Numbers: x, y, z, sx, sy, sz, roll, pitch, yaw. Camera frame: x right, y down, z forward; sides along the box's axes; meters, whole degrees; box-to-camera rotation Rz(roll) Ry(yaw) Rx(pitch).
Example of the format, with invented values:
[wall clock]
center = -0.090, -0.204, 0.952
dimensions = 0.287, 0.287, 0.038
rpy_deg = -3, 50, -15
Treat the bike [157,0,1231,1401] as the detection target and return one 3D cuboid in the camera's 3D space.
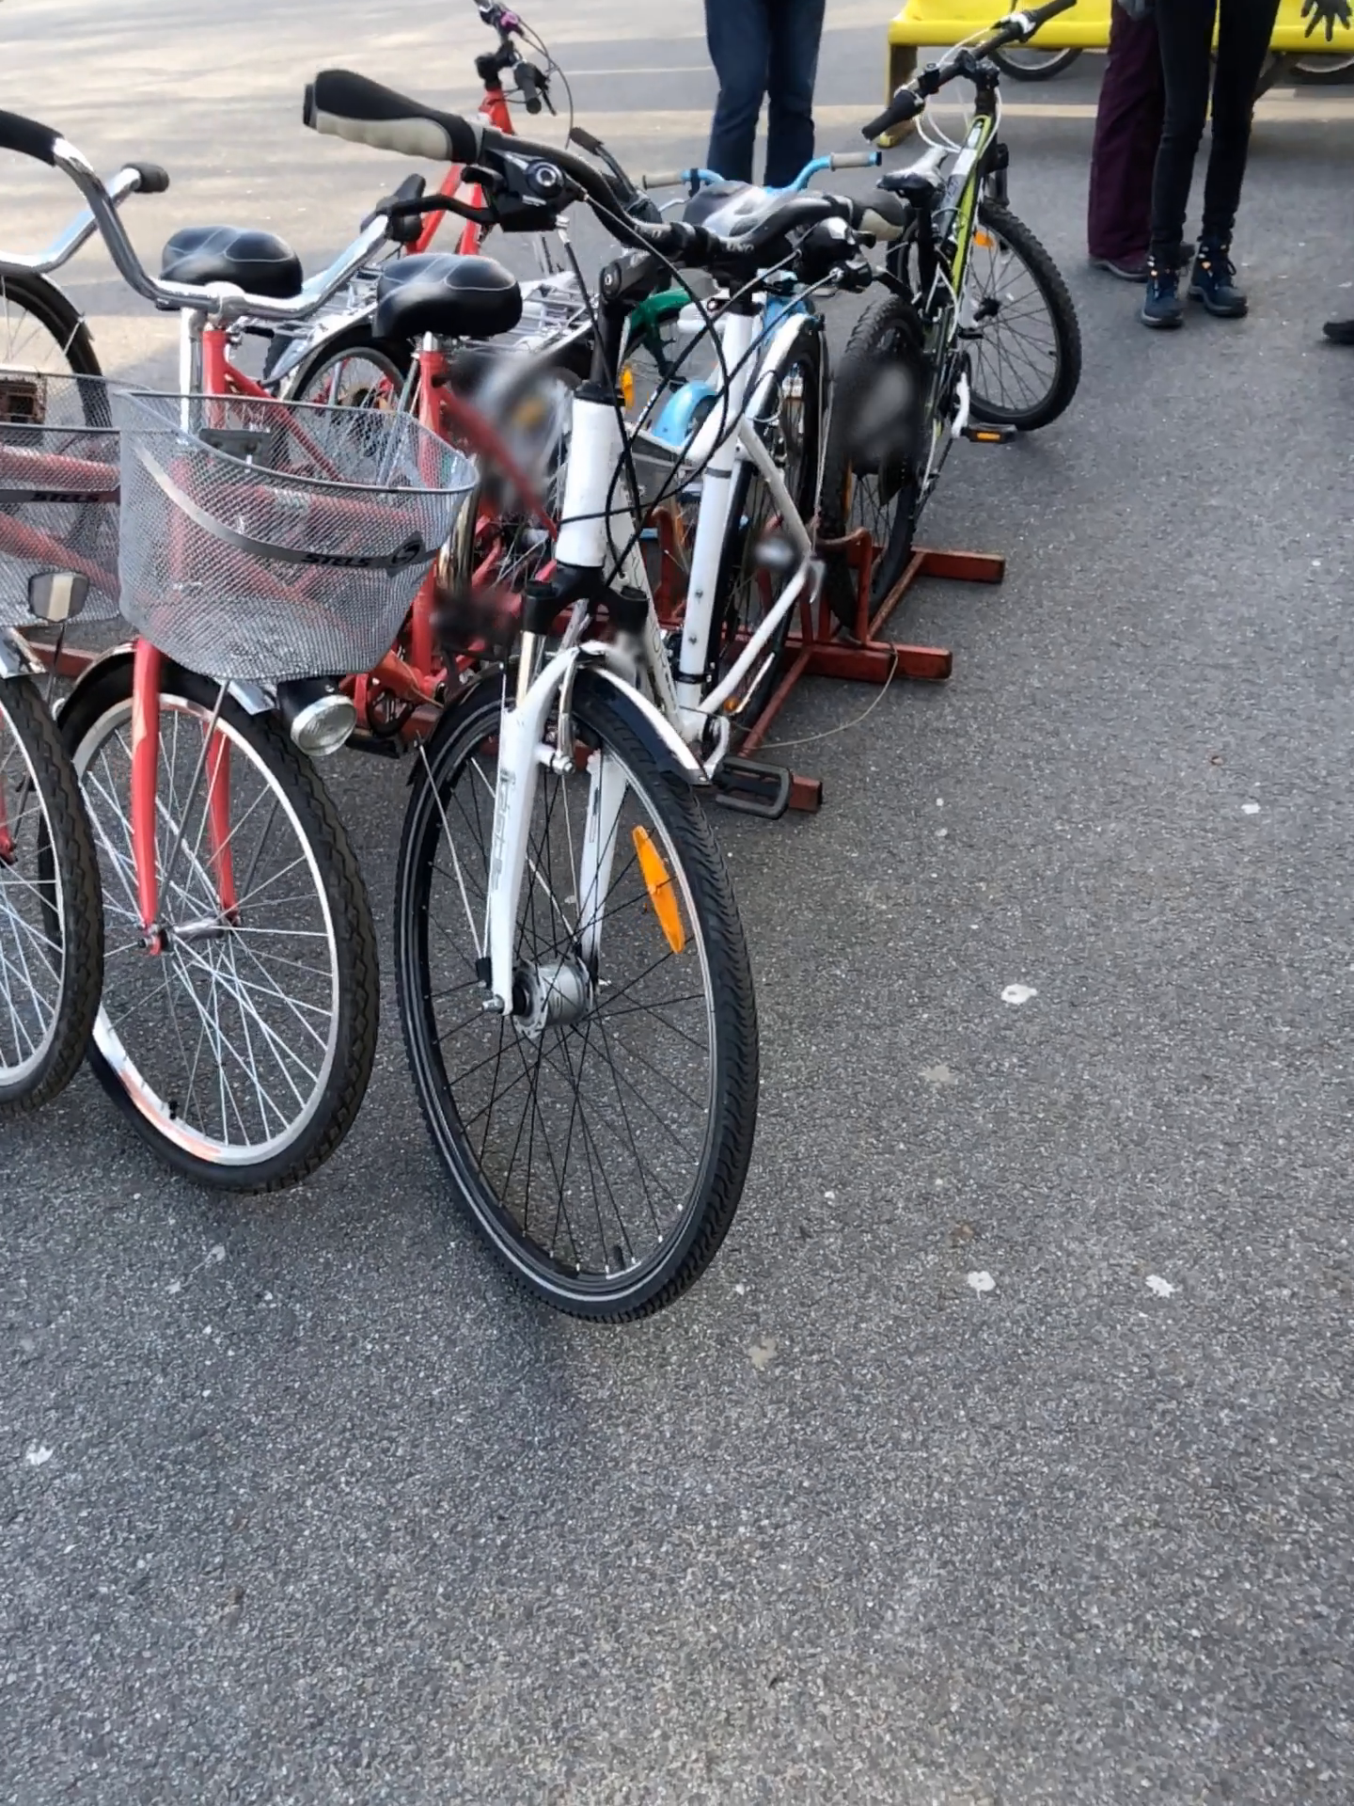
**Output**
[bike]
center = 0.136, -0.462, 1.819
dimensions = 0.619, 1.163, 1.610
rpy_deg = 0, 37, 9
